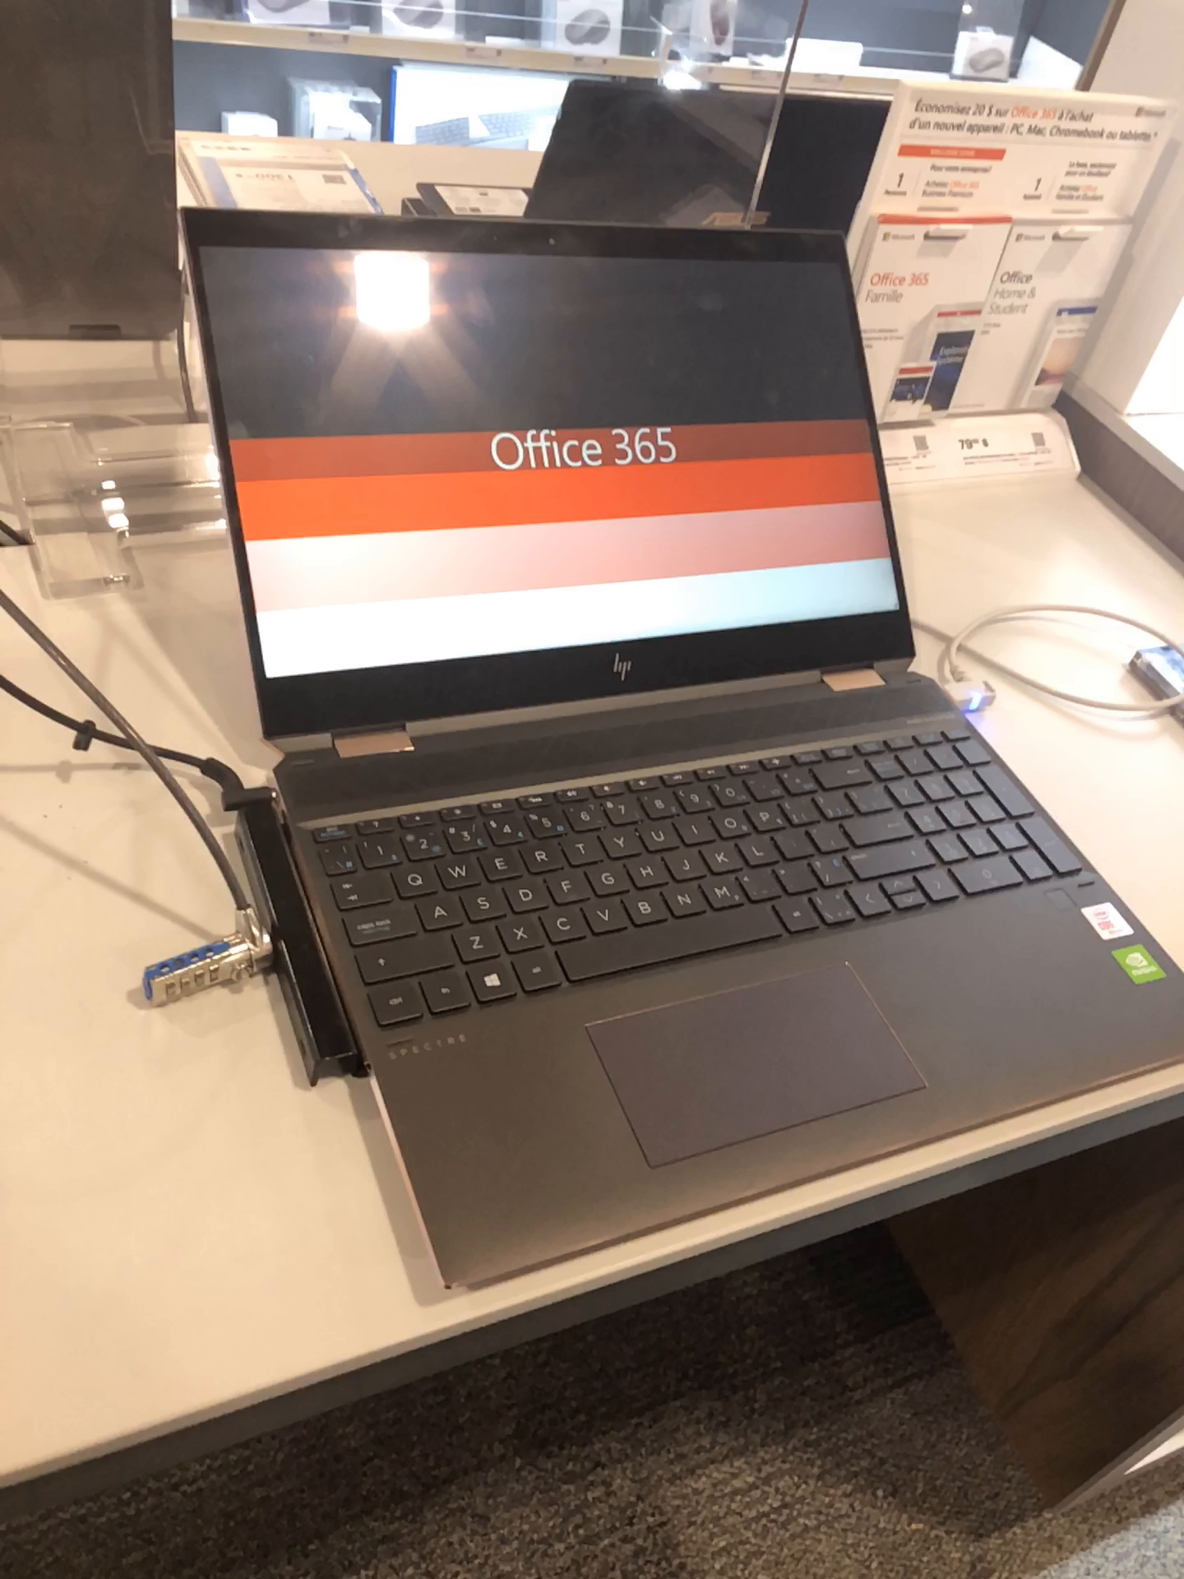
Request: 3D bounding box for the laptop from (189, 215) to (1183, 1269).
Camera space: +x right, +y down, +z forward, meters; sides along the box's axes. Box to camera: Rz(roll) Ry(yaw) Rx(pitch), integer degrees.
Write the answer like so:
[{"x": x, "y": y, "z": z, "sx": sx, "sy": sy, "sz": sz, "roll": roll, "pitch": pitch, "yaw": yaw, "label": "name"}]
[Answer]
[{"x": 0.043, "y": -0.075, "z": 0.549, "sx": 0.334, "sy": 0.145, "sz": 0.426, "roll": -9, "pitch": 49, "yaw": -22, "label": "laptop"}]
